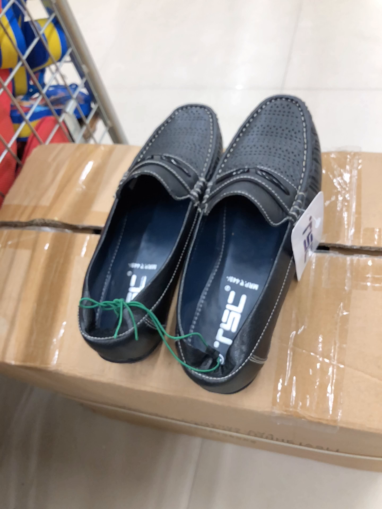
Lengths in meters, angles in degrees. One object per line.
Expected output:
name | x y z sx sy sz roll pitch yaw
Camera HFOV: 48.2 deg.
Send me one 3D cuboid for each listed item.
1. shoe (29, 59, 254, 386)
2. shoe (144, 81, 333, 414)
shoe | -0.024 -0.049 0.414 0.100 0.090 0.311 9 62 18
shoe | 0.063 -0.025 0.415 0.100 0.090 0.311 9 62 18
